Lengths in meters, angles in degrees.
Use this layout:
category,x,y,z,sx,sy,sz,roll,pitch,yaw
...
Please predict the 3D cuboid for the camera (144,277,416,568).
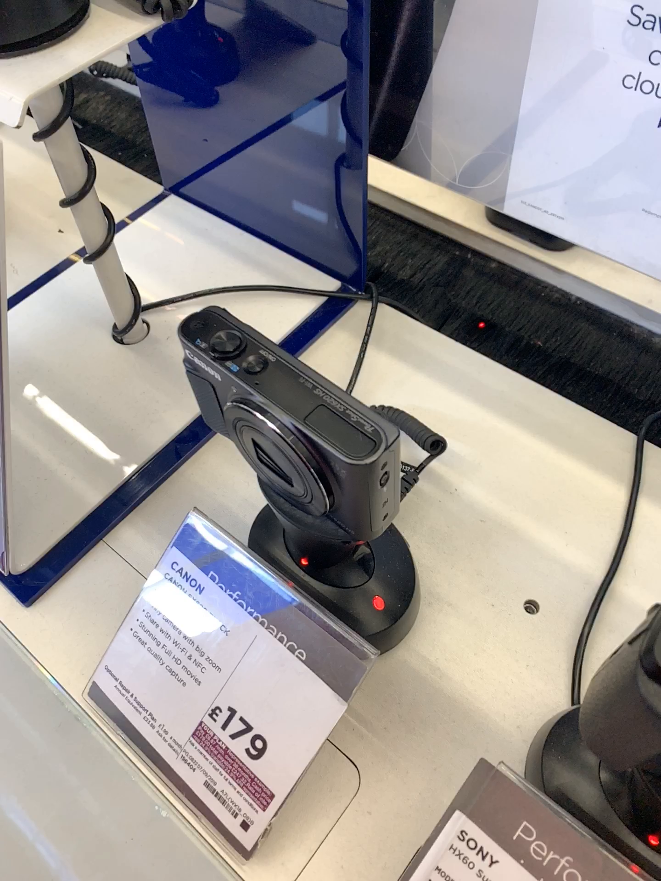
category,x,y,z,sx,sy,sz,roll,pitch,yaw
camera,-0.017,-0.006,0.236,0.090,0.060,0.030,36,64,25
